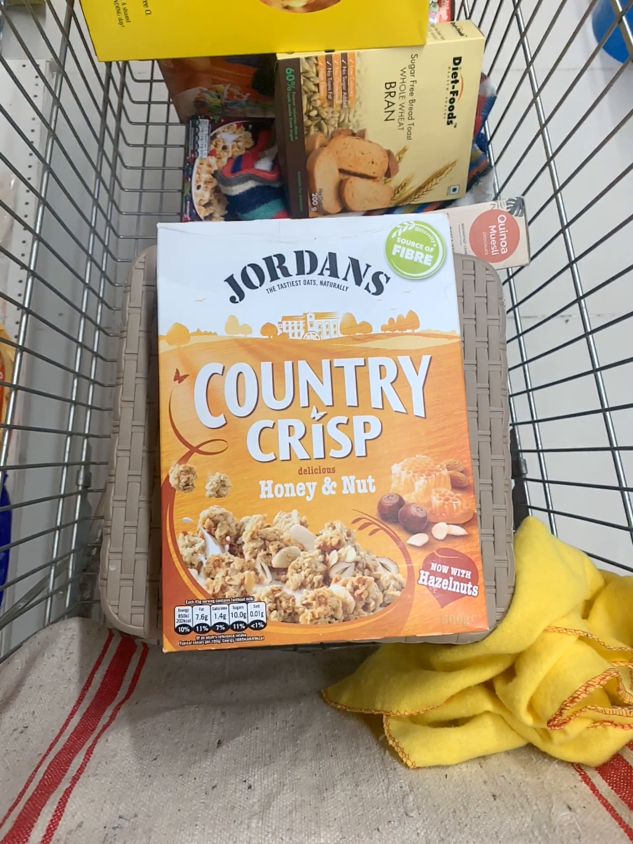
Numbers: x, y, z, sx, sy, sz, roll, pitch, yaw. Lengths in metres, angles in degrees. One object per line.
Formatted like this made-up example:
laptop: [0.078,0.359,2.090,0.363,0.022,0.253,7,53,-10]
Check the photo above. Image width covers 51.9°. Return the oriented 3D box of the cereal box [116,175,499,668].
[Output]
cereal box: [-0.012,-0.004,0.385,0.190,0.080,0.260,-2,79,-4]
